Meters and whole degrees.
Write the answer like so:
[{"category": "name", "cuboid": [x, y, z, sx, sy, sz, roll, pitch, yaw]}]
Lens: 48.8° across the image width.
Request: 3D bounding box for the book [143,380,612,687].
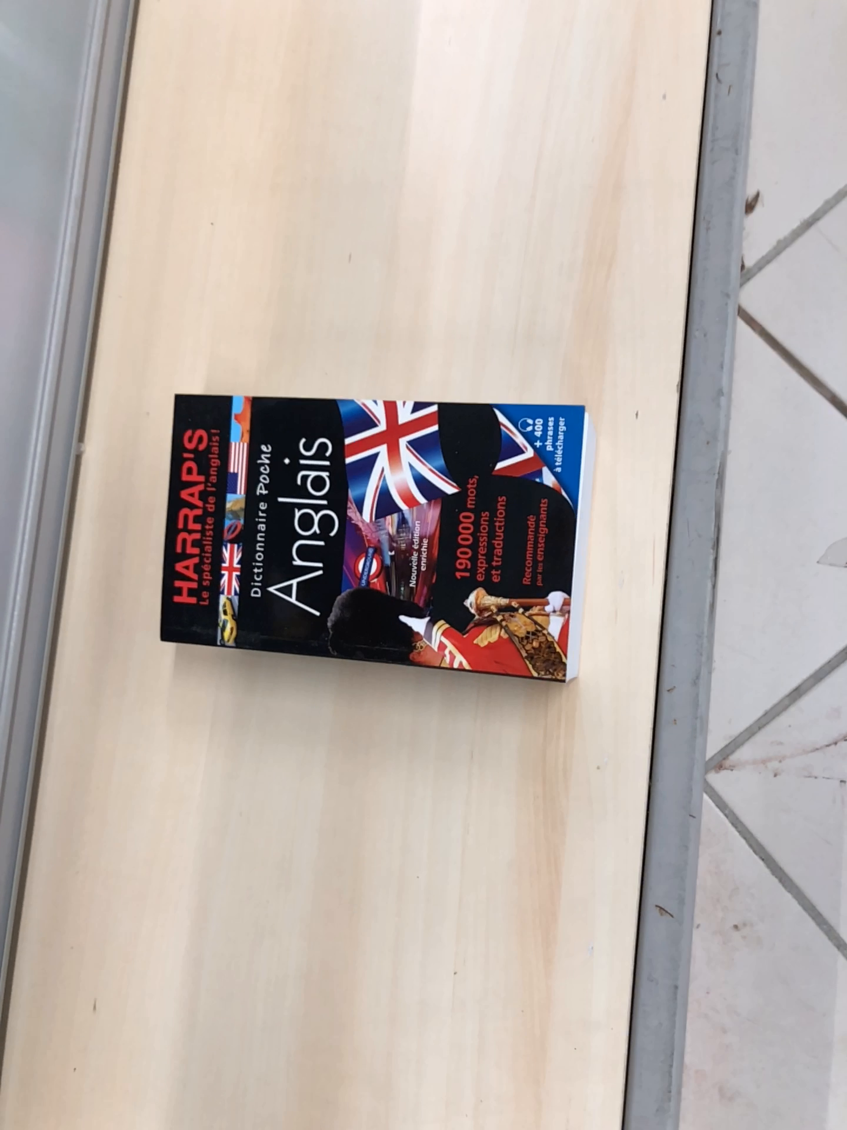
[{"category": "book", "cuboid": [-0.017, -0.014, 0.400, 0.181, 0.057, 0.115, 3, 82, 15]}]
